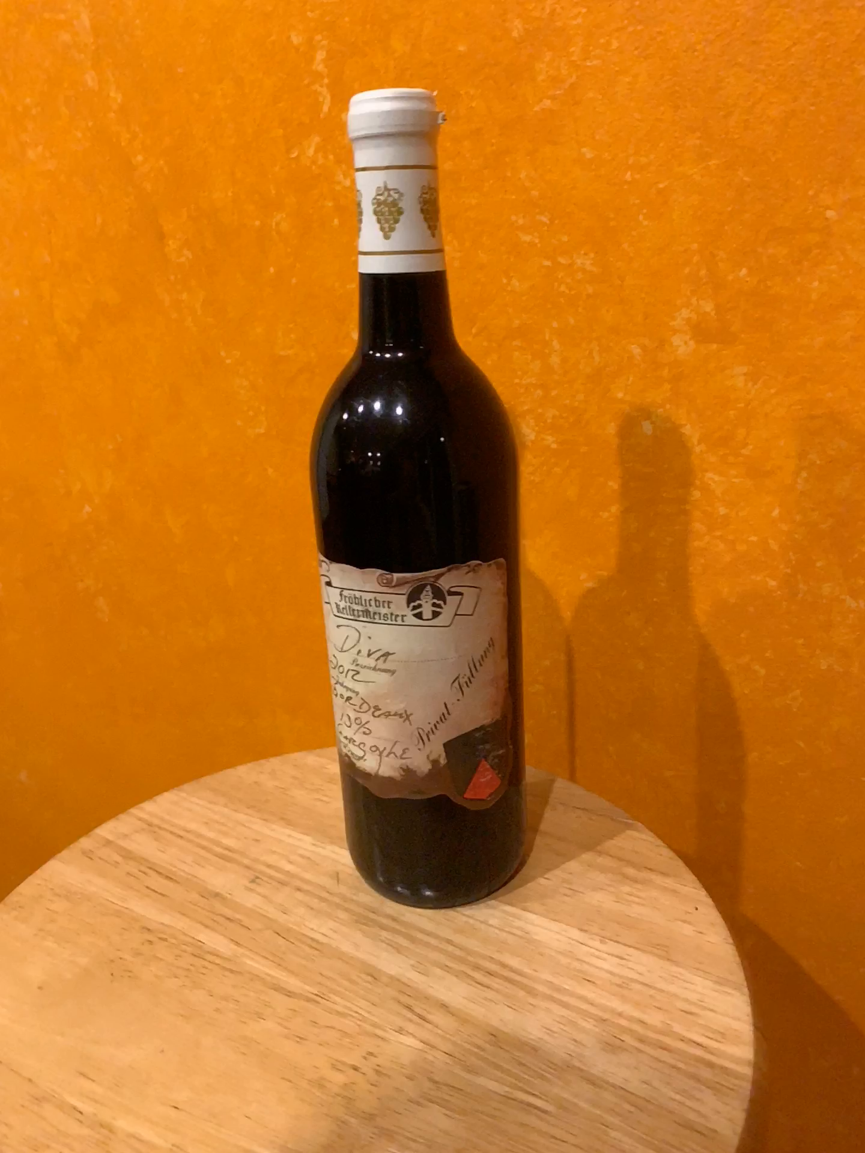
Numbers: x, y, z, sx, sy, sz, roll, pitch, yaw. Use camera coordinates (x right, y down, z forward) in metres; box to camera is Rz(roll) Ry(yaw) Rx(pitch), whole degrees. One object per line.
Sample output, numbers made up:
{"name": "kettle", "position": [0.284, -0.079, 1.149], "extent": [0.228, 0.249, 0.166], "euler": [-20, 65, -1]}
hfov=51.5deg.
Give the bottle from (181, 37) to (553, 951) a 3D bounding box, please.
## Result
{"name": "bottle", "position": [-0.012, -0.017, 0.320], "extent": [0.080, 0.289, 0.070], "euler": [10, 25, 32]}
